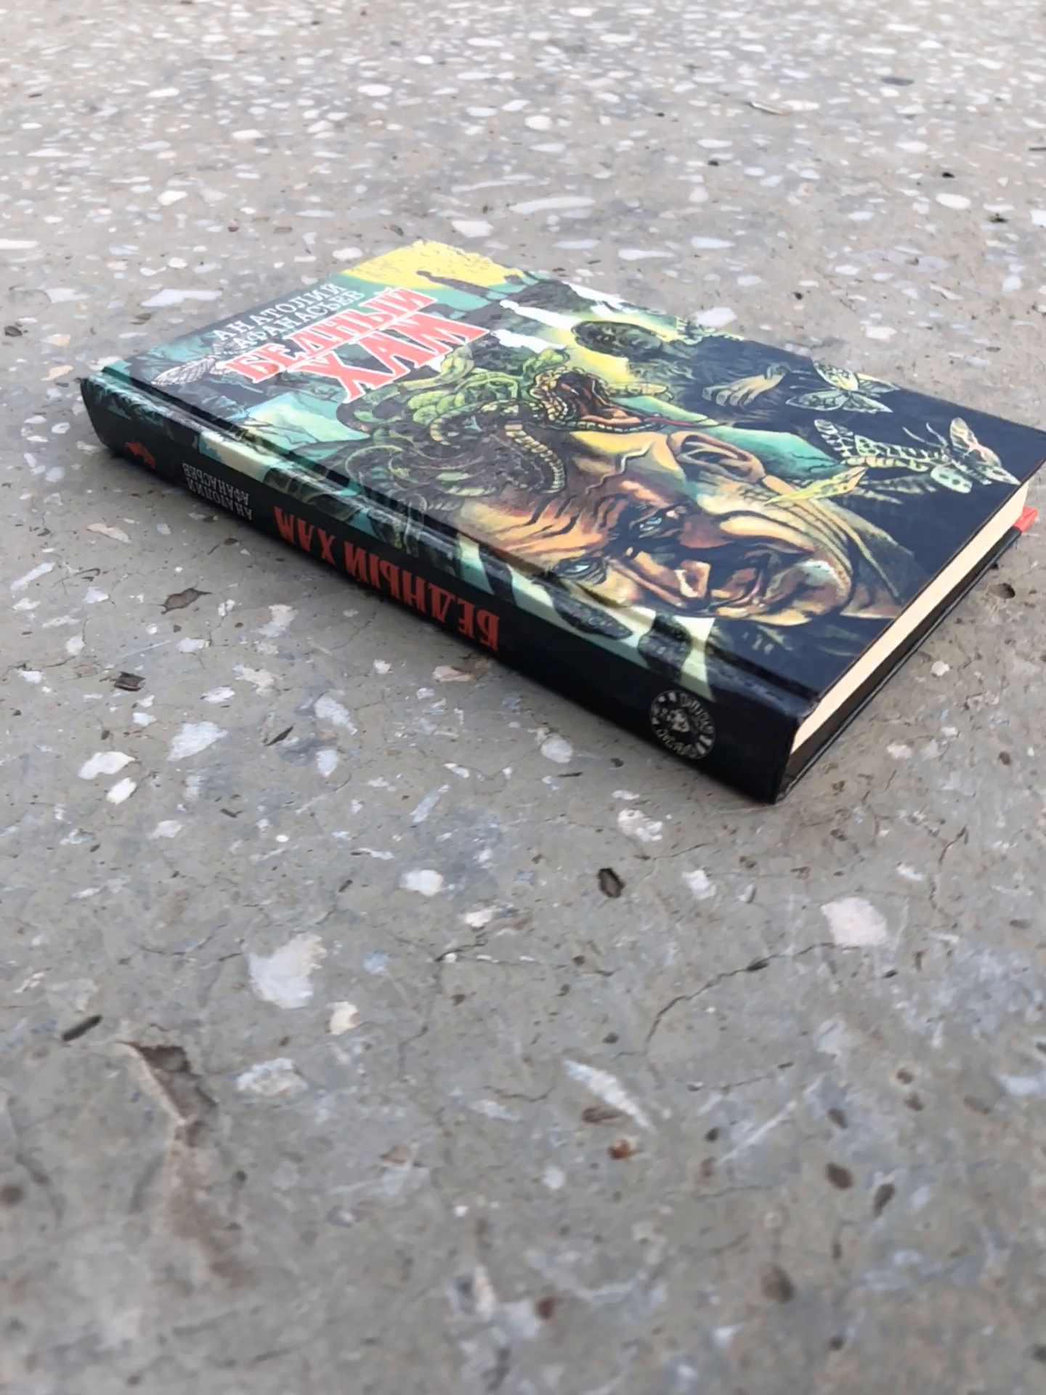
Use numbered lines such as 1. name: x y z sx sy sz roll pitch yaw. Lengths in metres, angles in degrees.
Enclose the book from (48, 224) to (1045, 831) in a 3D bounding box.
1. book: 0.006 -0.063 0.287 0.202 0.020 0.142 29 48 27
